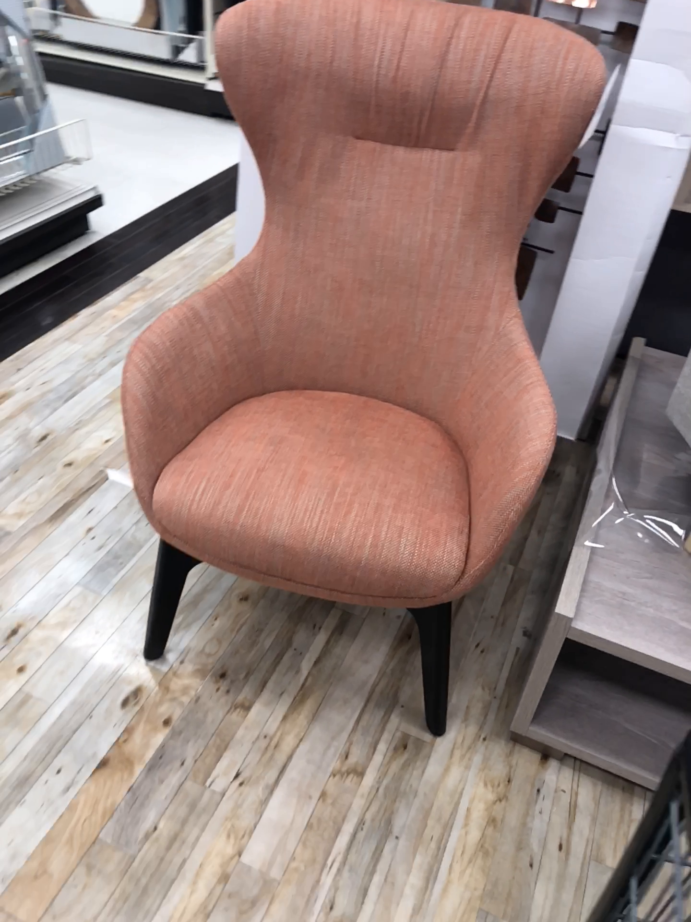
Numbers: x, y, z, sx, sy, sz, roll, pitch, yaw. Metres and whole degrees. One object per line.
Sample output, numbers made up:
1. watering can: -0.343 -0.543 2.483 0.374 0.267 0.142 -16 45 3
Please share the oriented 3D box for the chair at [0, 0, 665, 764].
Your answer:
1. chair: -0.002 -0.177 1.347 0.690 1.066 0.753 12 39 8
